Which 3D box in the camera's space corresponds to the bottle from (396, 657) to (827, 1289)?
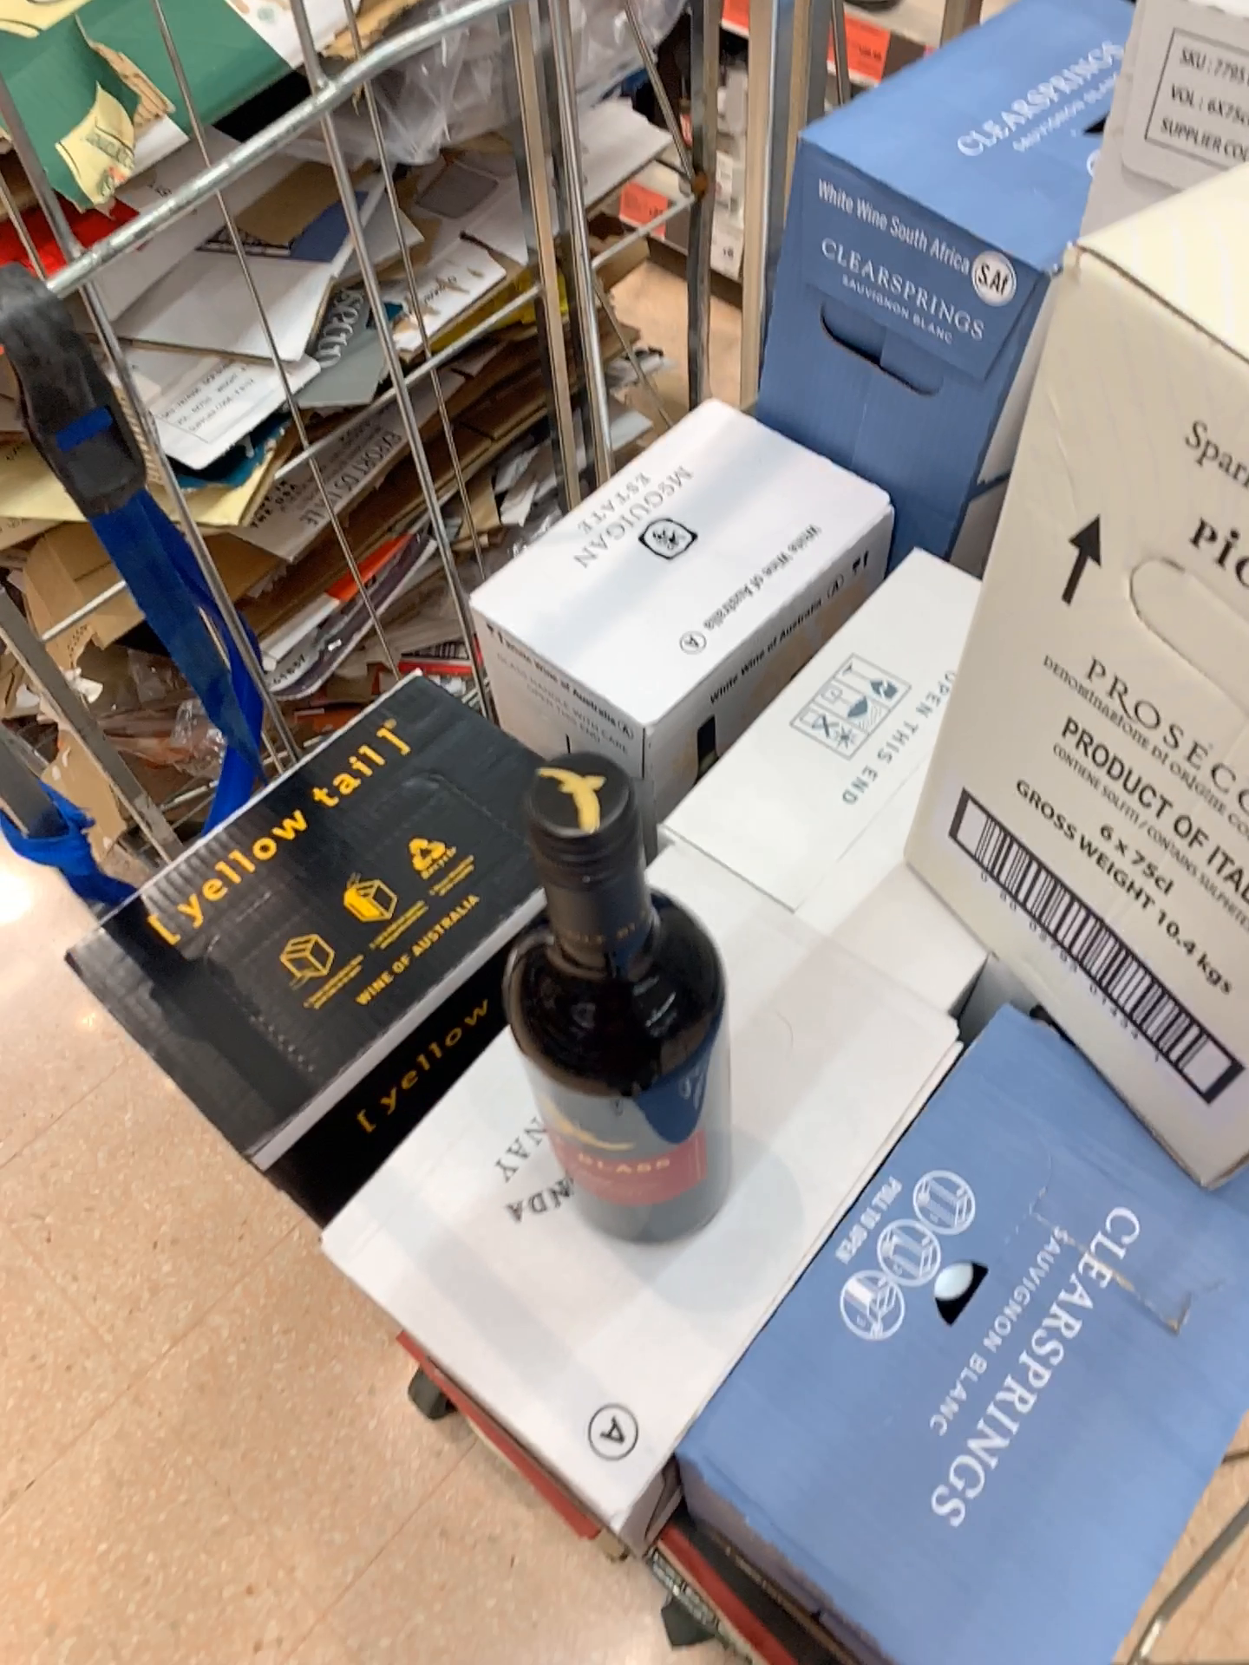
[{"bbox_3d":[0.003,0.069,0.430,0.080,0.271,0.076,-1,58,2],"label":"bottle"}]
